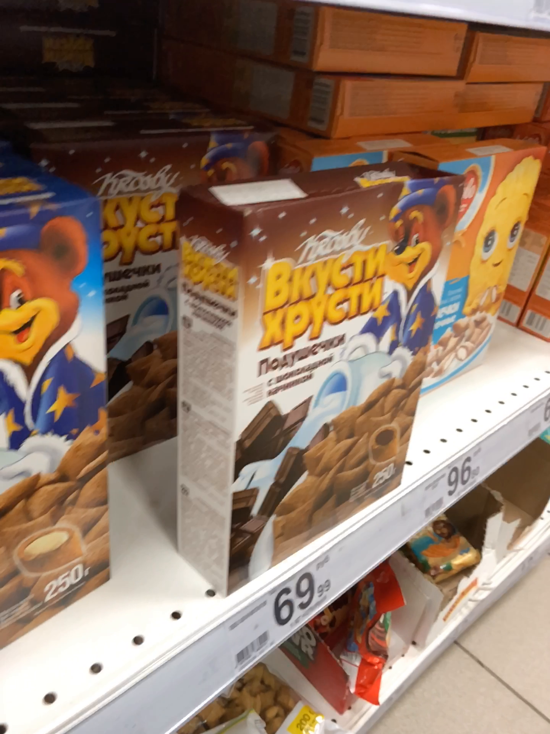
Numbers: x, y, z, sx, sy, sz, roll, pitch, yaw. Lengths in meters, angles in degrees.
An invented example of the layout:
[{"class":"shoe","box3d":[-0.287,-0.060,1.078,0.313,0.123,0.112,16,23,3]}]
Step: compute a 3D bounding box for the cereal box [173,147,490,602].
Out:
[{"class":"cereal box","box3d":[0.030,-0.002,0.362,0.181,0.229,0.050,-20,38,-38]}]
